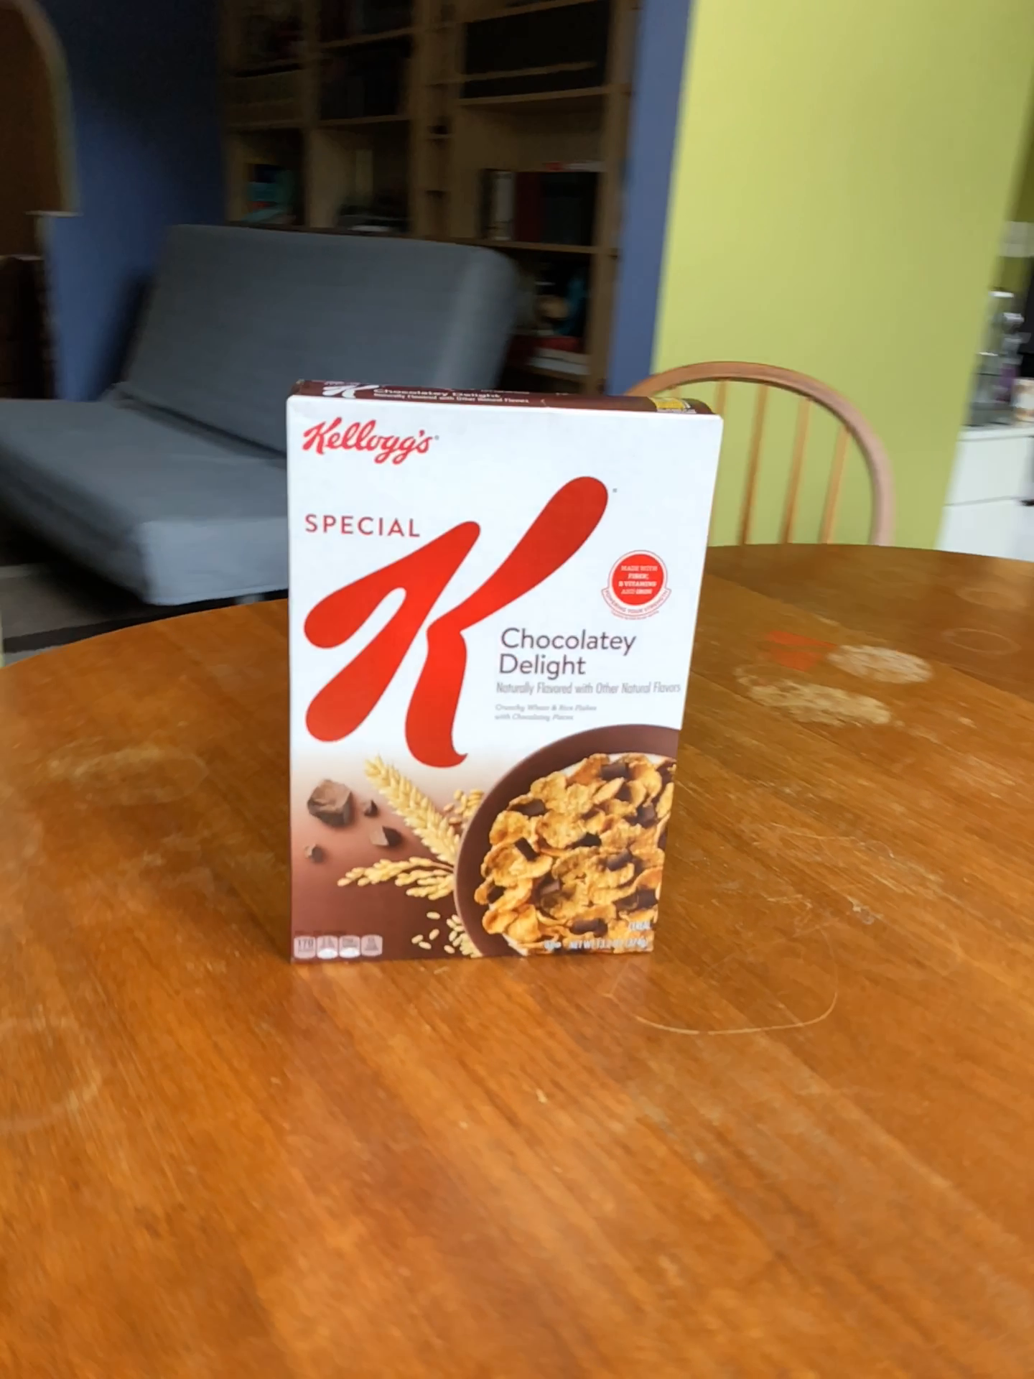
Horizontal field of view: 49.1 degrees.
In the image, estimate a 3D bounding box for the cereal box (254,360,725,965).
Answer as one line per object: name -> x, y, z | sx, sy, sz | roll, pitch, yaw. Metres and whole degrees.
cereal box -> -0.021, -0.004, 0.554 | 0.200, 0.288, 0.050 | 0, 22, -8
